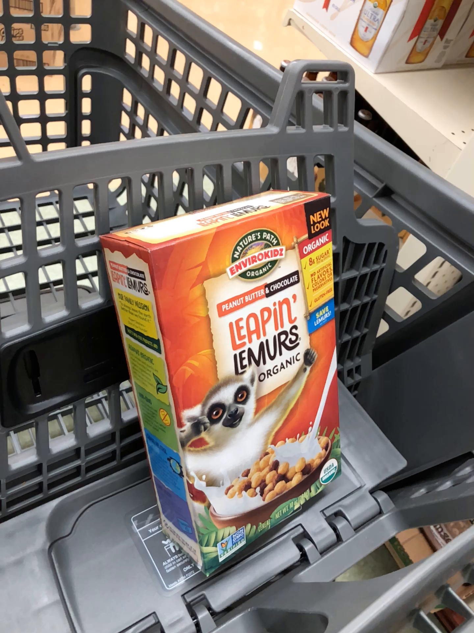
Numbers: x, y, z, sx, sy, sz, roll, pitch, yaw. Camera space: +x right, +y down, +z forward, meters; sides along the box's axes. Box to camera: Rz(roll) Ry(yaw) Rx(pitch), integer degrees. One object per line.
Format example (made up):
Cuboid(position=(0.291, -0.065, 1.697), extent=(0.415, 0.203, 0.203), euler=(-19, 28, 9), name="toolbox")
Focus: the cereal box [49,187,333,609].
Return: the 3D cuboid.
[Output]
Cuboid(position=(-0.016, 0.052, 0.392), extent=(0.160, 0.260, 0.070), euler=(-24, 27, -34), name="cereal box")
